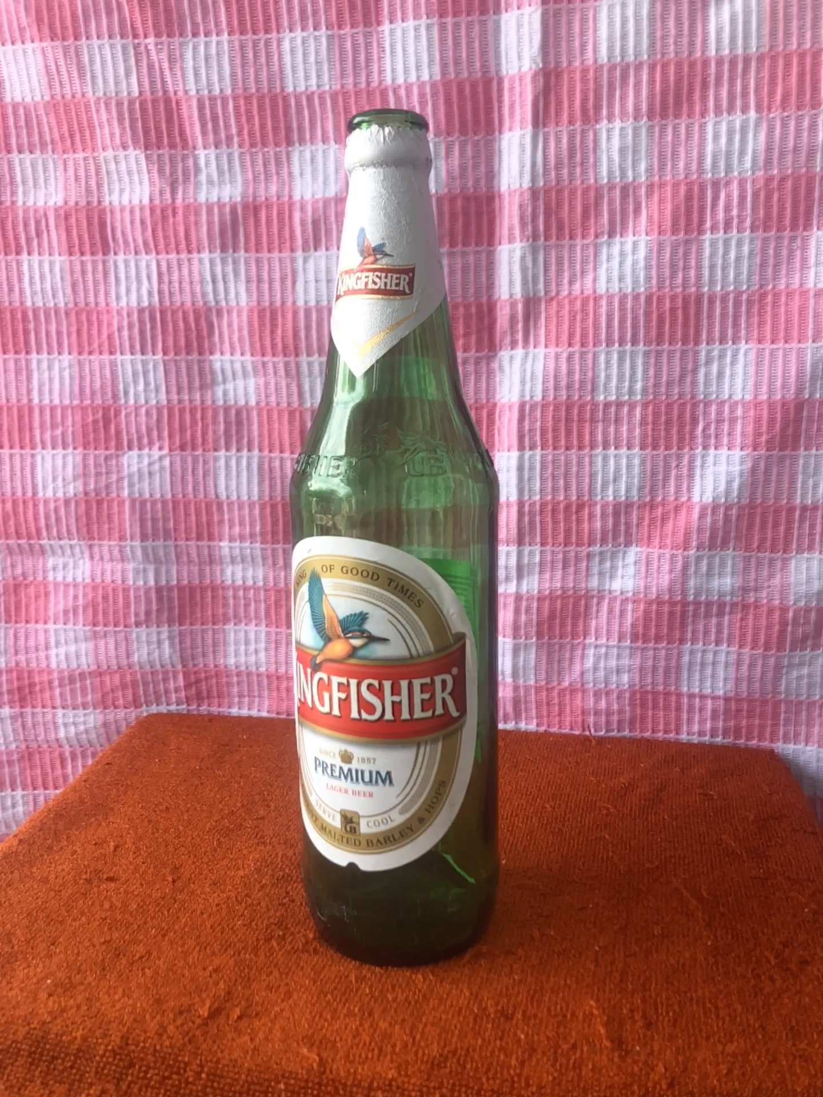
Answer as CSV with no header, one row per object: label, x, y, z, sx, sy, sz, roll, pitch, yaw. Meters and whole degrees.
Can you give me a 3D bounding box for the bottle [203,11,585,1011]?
bottle,-0.005,-0.007,0.314,0.090,0.289,0.080,8,15,28
